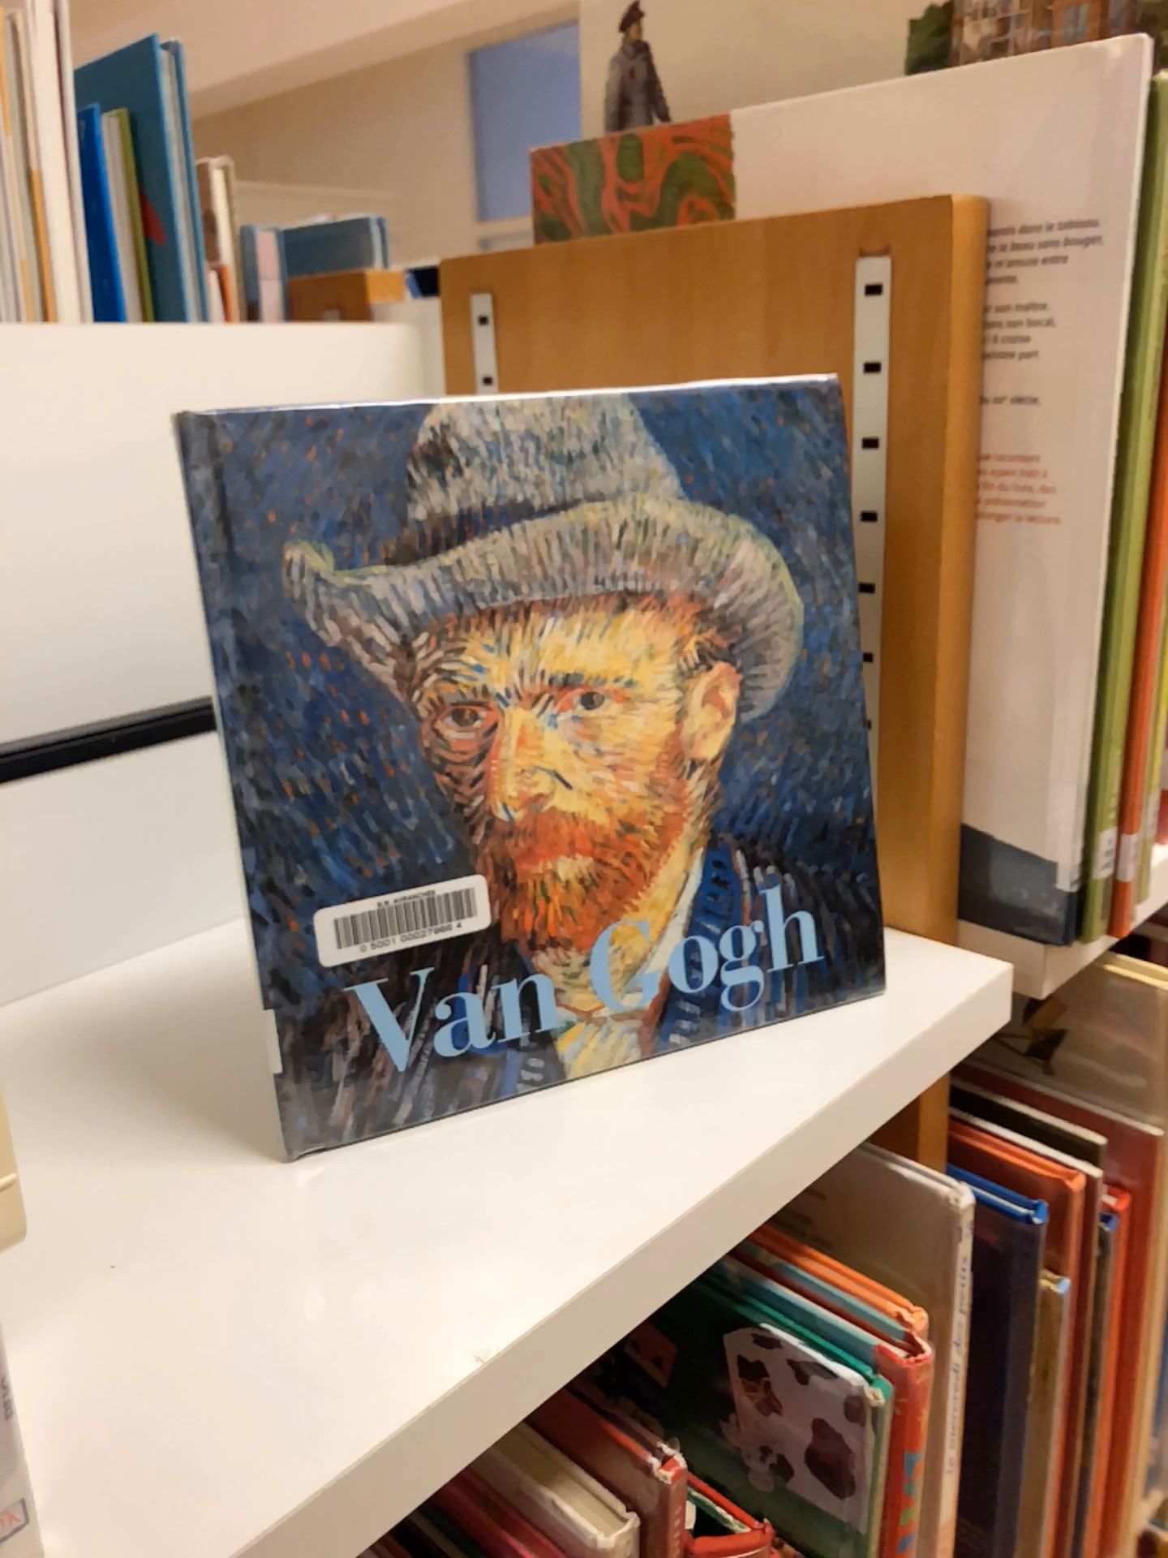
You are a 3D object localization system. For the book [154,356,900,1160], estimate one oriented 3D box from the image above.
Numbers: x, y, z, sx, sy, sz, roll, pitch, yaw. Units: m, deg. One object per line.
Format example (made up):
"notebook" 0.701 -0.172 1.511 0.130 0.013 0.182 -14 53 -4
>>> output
"book" -0.003 -0.014 0.372 0.201 0.198 0.013 -10 9 -23
